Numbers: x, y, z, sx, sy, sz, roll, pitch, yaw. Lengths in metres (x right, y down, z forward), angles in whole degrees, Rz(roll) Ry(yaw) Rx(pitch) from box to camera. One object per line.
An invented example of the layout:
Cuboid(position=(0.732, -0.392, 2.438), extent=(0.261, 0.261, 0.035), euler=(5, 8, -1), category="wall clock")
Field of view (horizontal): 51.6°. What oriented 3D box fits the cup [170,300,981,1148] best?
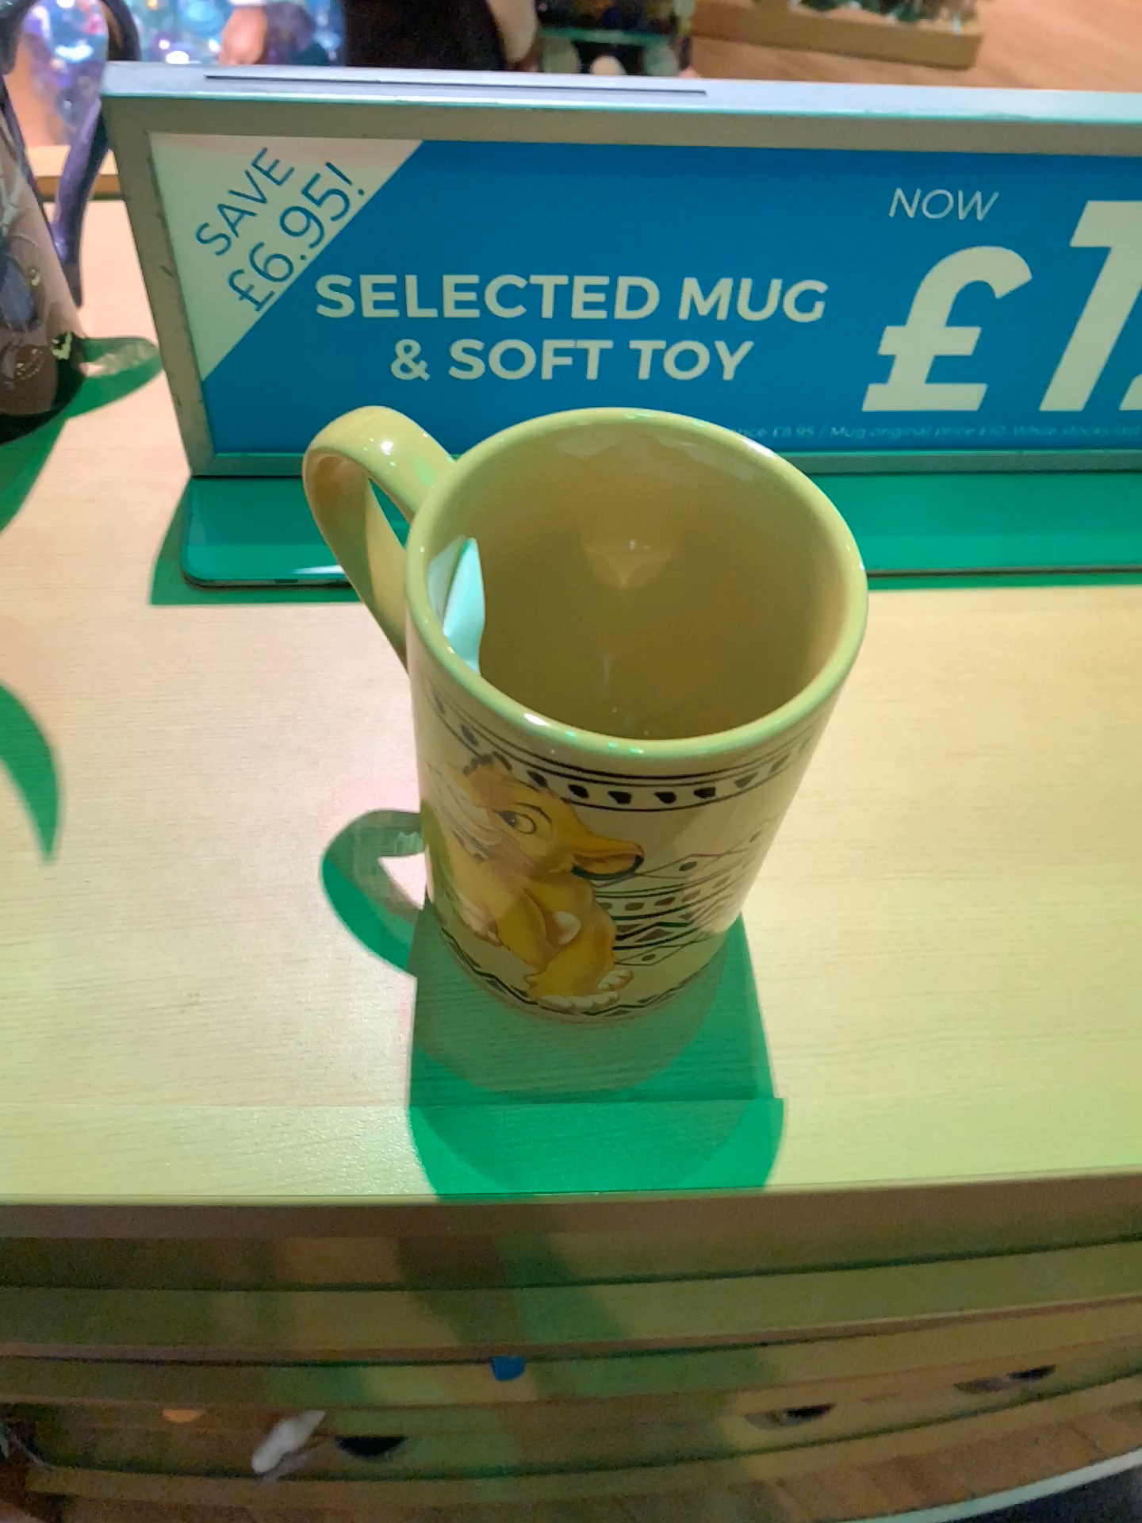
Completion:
Cuboid(position=(-0.002, -0.007, 0.271), extent=(0.119, 0.121, 0.100), euler=(31, 55, 15), category="cup")
